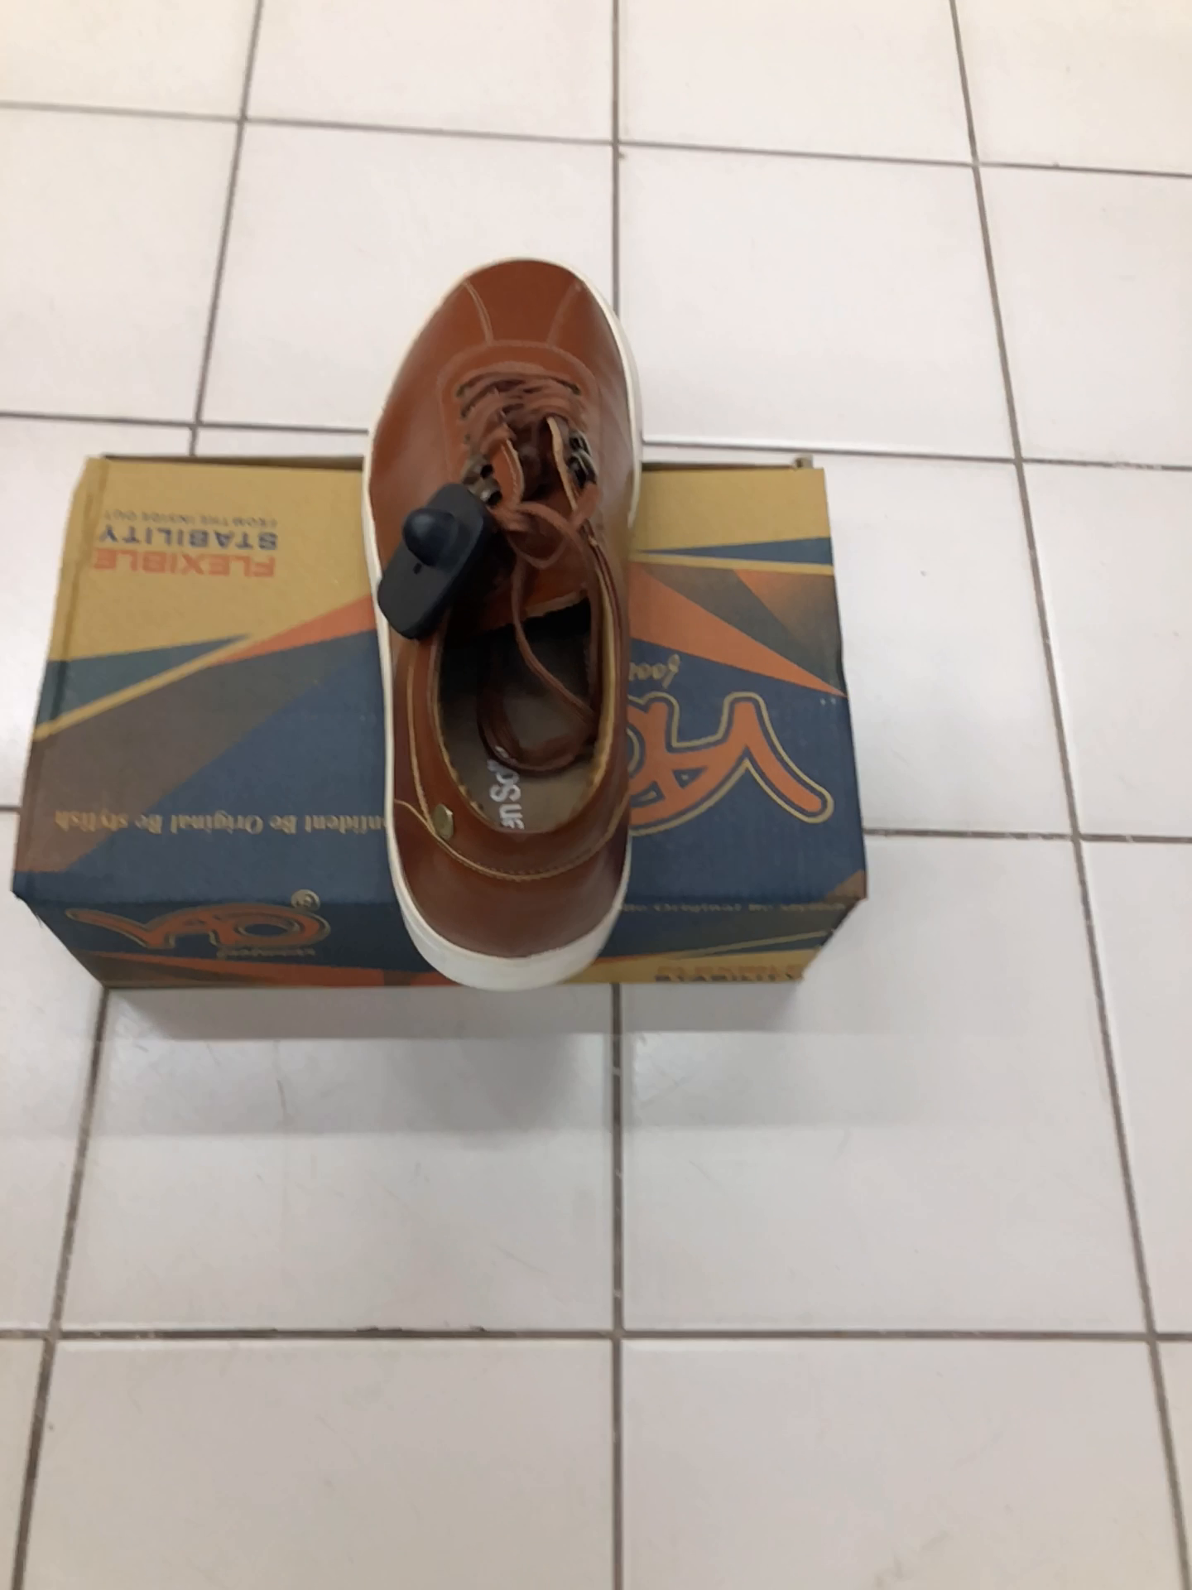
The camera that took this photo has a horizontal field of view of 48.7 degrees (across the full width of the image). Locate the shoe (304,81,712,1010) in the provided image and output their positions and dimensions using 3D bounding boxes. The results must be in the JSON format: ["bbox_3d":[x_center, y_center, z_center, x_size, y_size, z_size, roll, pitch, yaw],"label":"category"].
[{"bbox_3d":[-0.029,-0.082,0.429,0.100,0.110,0.281,0,67,-4],"label":"shoe"}]
